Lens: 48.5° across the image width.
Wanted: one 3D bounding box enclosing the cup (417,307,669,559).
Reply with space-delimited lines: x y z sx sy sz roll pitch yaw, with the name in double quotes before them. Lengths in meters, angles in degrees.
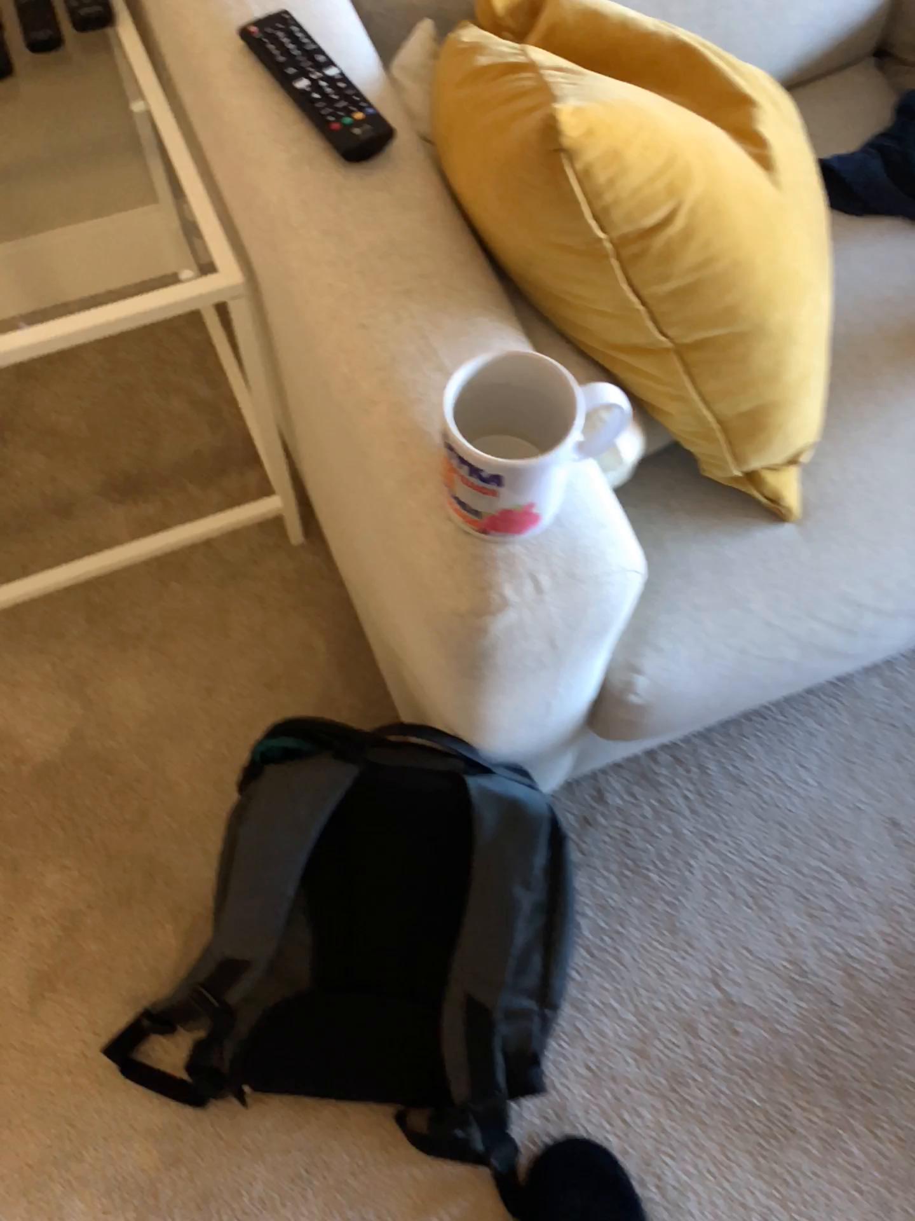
"cup" 0.045 -0.104 0.609 0.120 0.100 0.080 -16 66 -9
